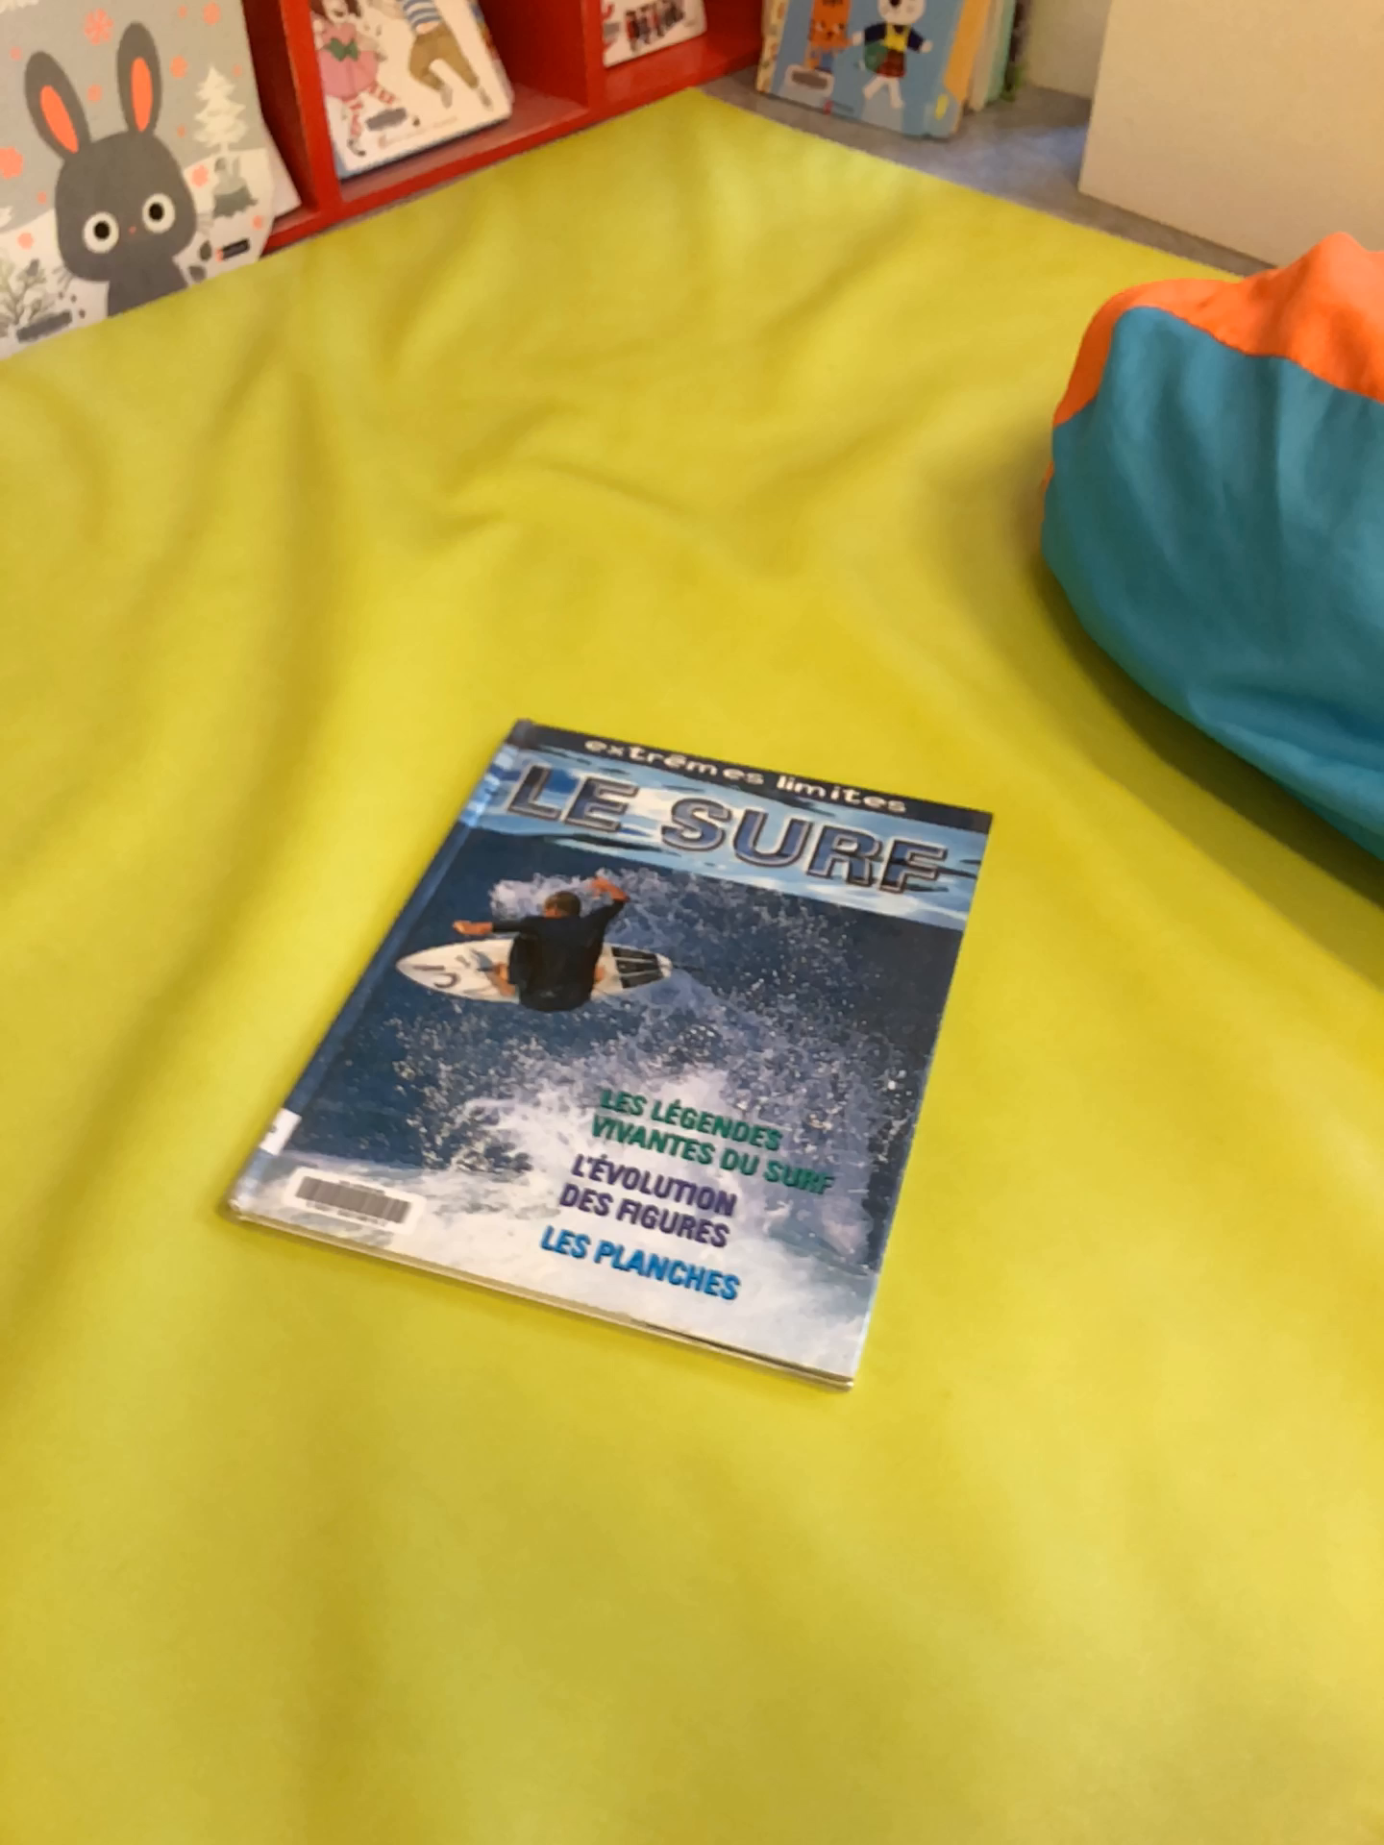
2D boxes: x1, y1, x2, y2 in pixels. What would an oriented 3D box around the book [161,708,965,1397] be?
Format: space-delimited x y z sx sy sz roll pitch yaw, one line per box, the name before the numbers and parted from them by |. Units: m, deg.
book | -0.031 0.026 0.587 0.226 0.016 0.274 12 47 11
